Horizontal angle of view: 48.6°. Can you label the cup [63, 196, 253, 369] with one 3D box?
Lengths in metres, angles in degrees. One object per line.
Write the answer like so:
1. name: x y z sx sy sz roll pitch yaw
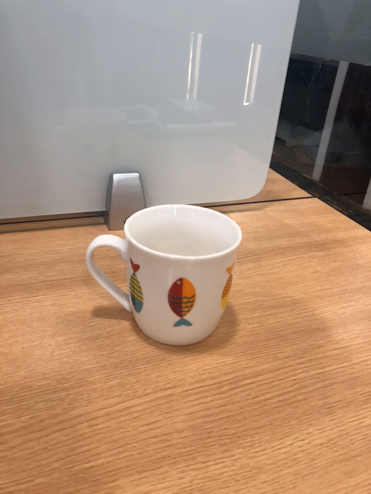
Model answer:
1. cup: -0.020 0.023 0.295 0.110 0.090 0.080 3 29 -4
